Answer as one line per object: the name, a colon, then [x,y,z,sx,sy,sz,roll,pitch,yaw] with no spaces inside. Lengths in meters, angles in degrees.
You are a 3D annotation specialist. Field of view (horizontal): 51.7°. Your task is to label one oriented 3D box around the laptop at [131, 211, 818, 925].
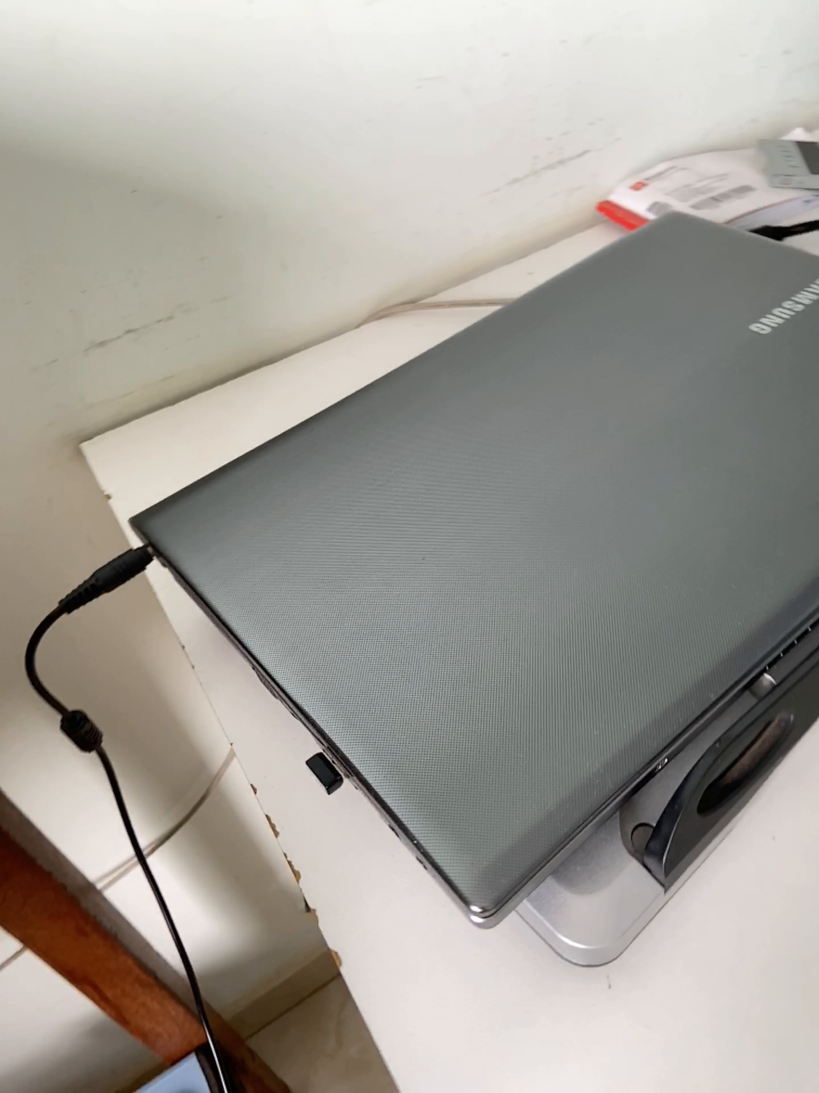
laptop: [0.091,-0.049,0.382,0.374,0.005,0.237,-34,49,-22]
